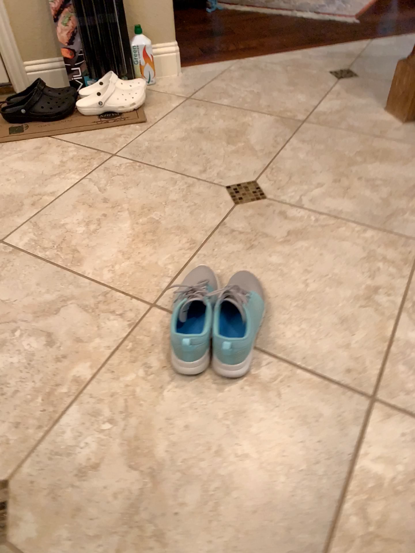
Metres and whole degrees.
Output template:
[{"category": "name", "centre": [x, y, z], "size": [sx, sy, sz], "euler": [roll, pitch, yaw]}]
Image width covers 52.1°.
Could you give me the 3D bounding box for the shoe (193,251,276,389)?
[{"category": "shoe", "centre": [0.064, 0.082, 0.903], "size": [0.106, 0.108, 0.272], "euler": [10, 47, 13]}]

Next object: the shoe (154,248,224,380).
[{"category": "shoe", "centre": [-0.029, 0.072, 0.914], "size": [0.106, 0.108, 0.272], "euler": [3, 45, 6]}]
